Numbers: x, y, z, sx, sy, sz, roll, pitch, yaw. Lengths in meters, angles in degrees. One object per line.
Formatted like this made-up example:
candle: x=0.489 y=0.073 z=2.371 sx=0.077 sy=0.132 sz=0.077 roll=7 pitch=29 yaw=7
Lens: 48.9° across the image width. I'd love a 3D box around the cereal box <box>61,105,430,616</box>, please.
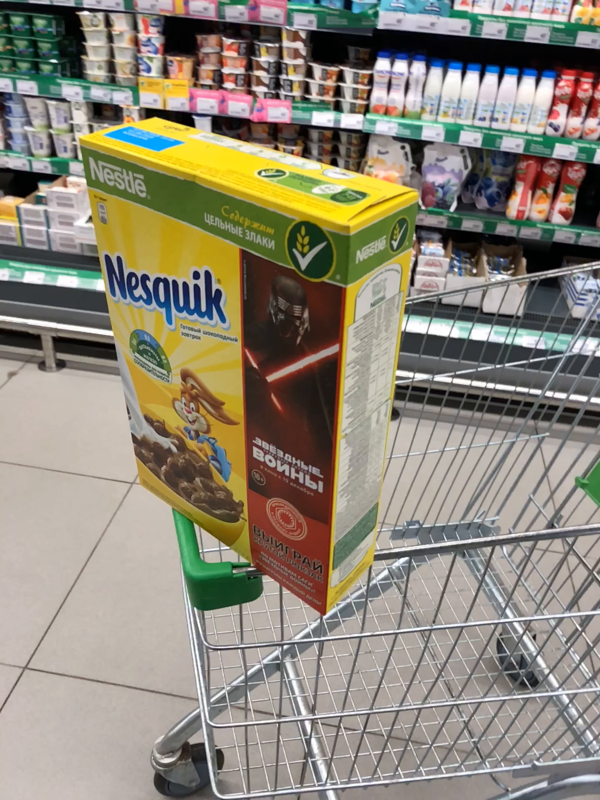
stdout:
cereal box: x=-0.039 y=-0.023 z=0.423 sx=0.200 sy=0.268 sz=0.070 roll=27 pitch=43 yaw=31
